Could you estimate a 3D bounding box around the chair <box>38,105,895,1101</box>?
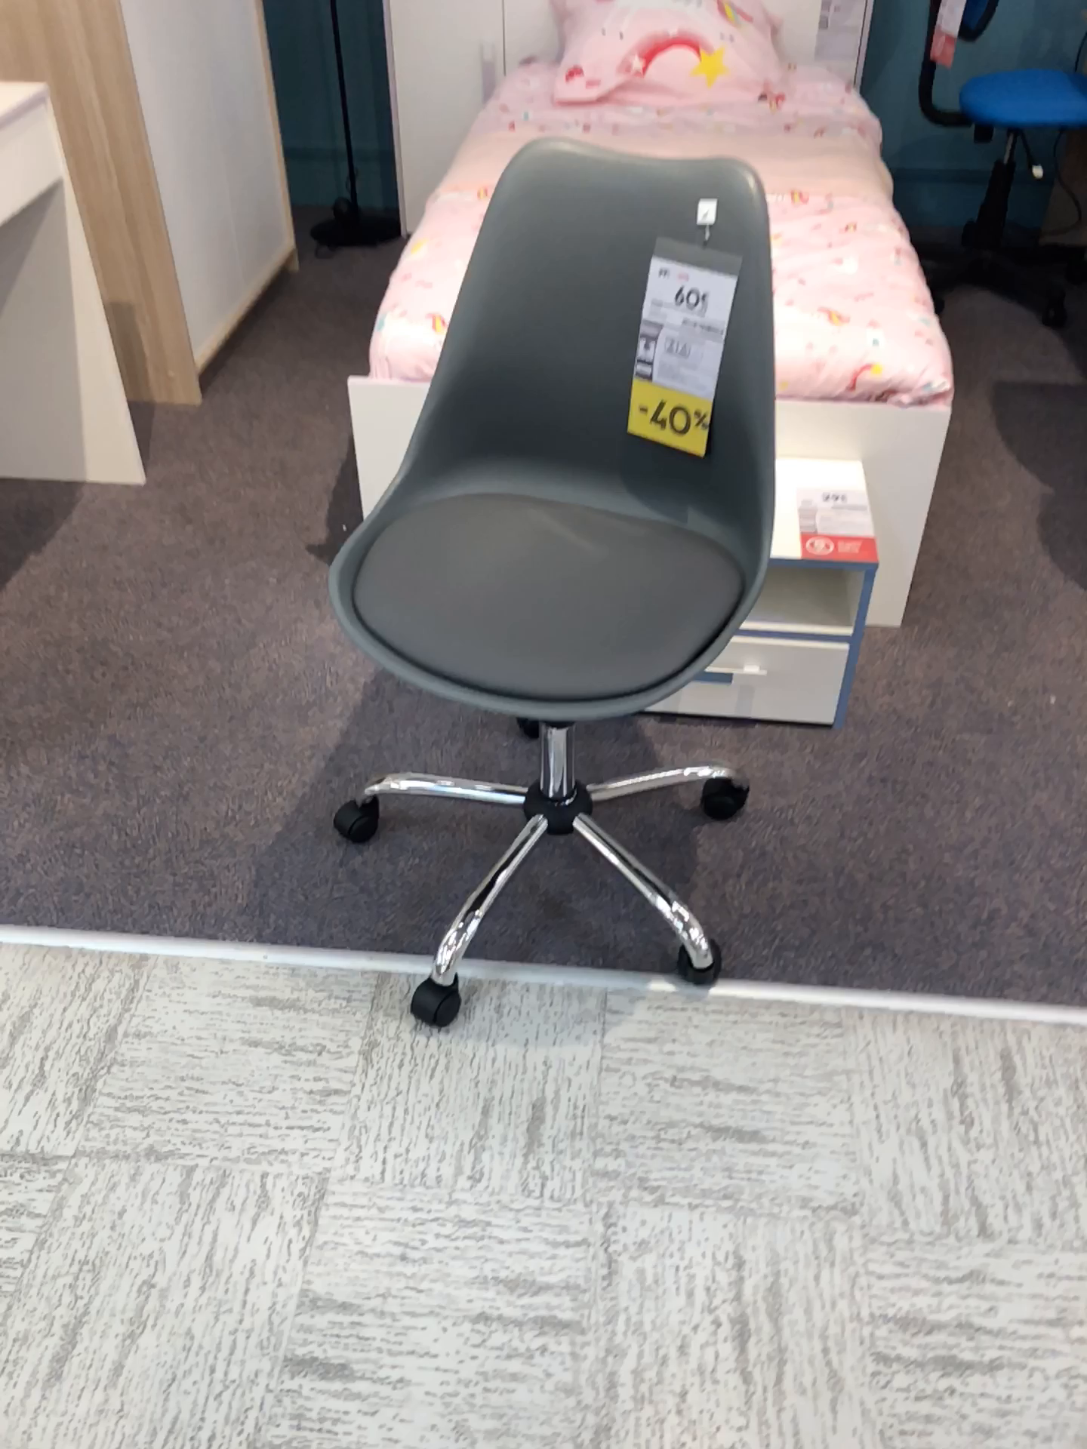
[{"bbox_3d":[-0.013,-0.151,1.363,0.600,0.835,0.634,12,42,14],"label":"chair"}]
